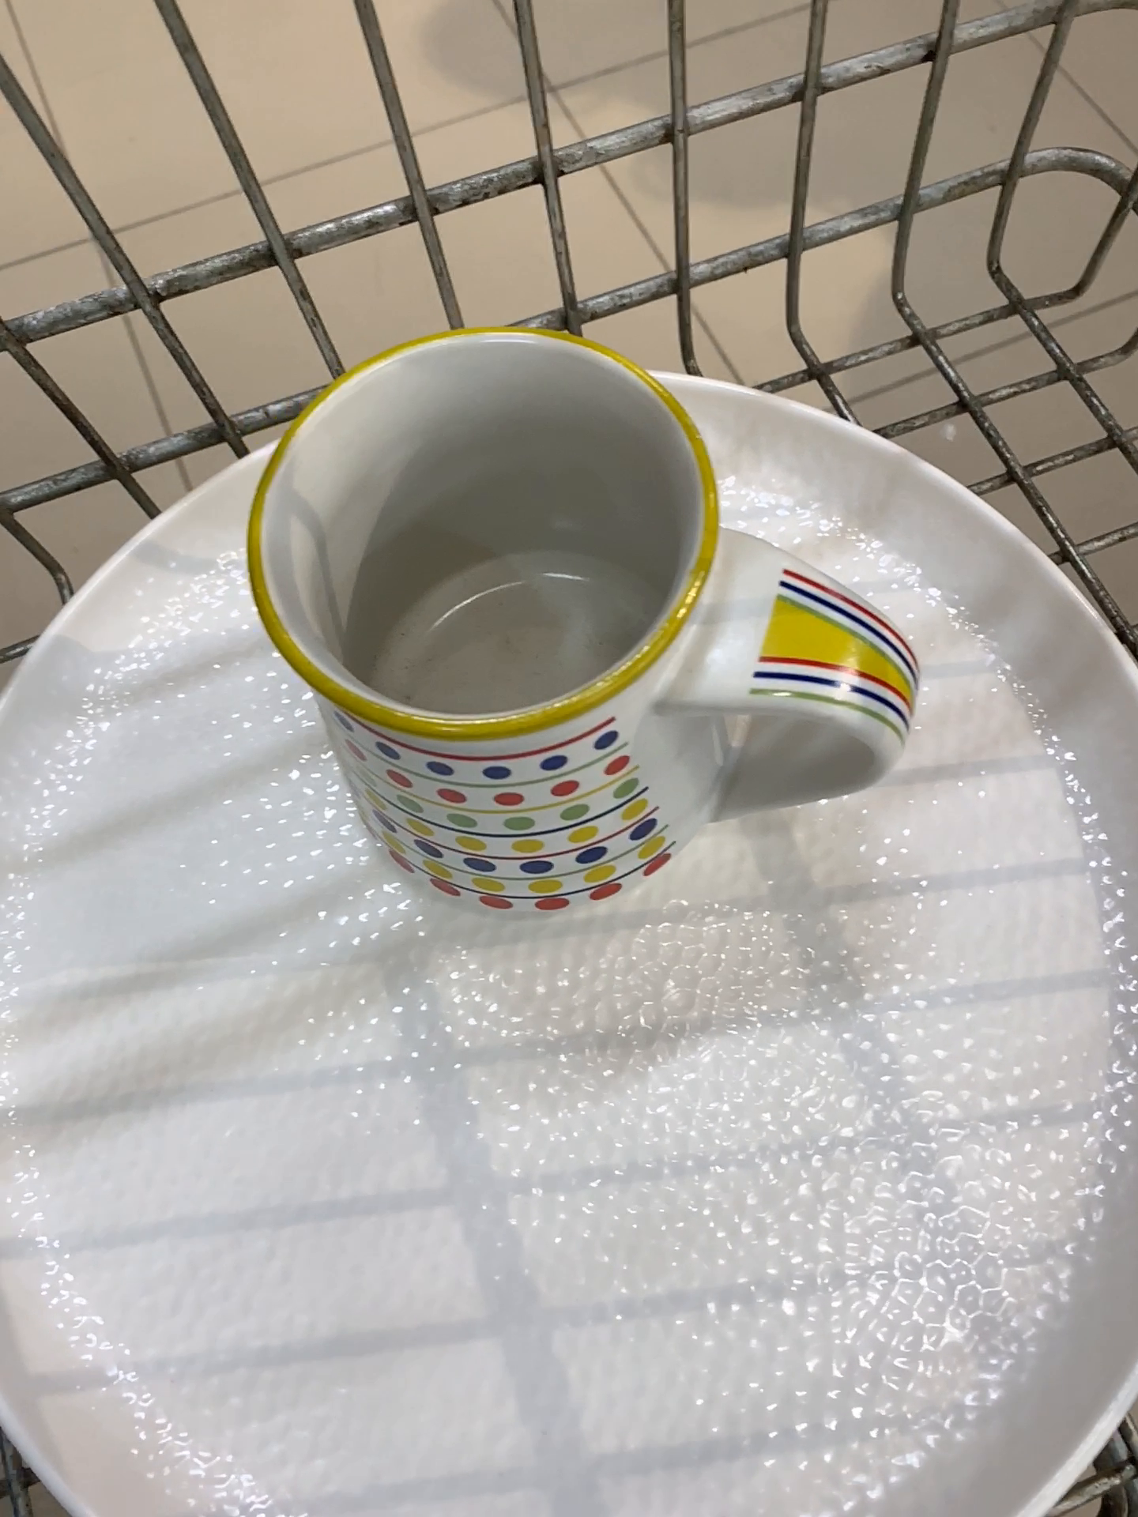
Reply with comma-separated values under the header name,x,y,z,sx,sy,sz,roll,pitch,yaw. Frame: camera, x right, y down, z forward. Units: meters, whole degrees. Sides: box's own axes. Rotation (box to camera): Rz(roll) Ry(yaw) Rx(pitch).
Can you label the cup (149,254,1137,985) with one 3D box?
name,x,y,z,sx,sy,sz,roll,pitch,yaw
cup,0.013,-0.013,0.197,0.120,0.100,0.080,-1,66,2
